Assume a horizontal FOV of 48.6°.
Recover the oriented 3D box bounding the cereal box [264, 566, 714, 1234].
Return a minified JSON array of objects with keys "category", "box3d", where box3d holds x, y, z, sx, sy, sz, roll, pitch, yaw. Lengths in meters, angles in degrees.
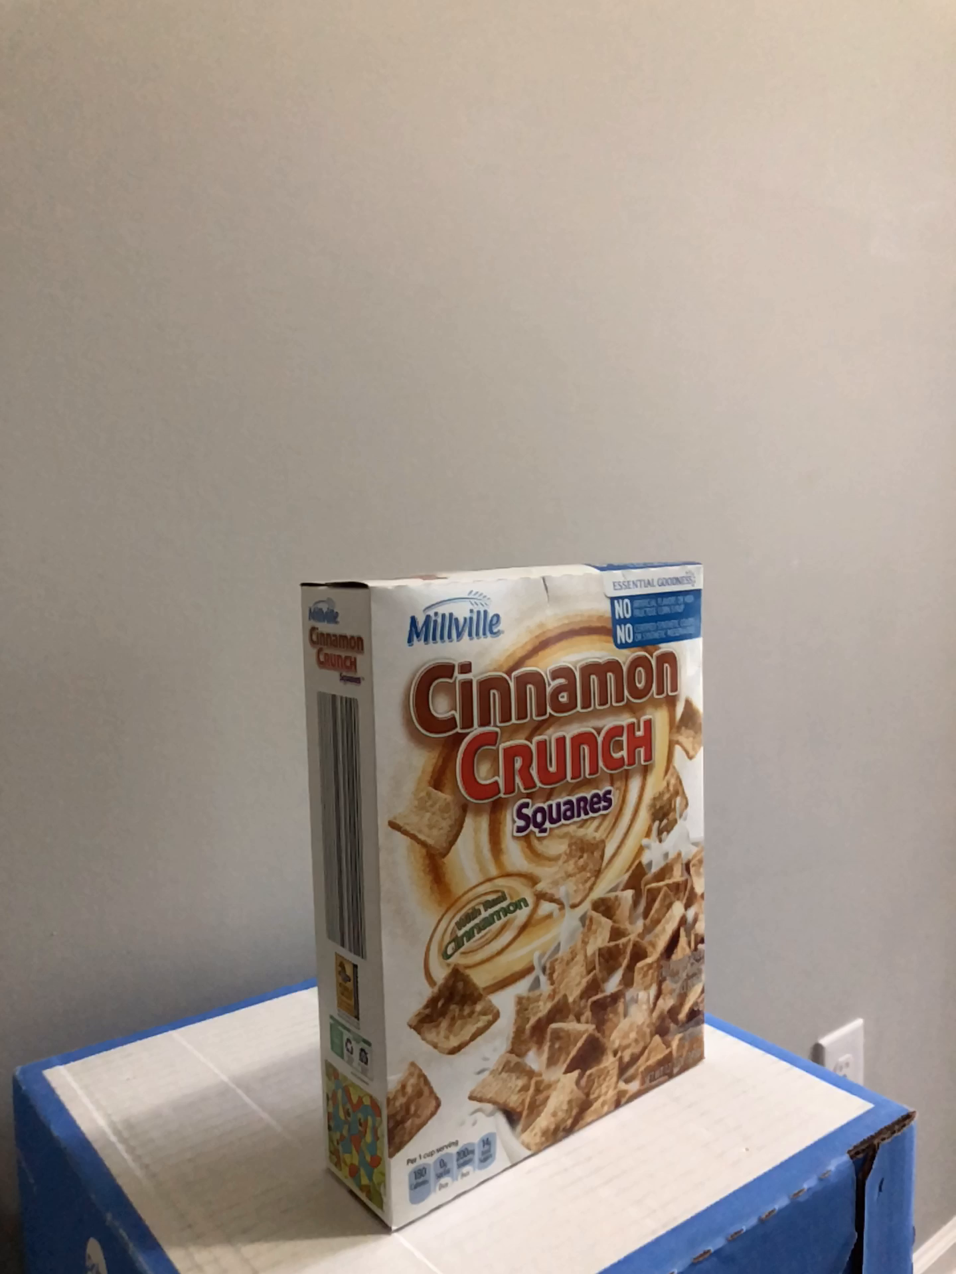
[{"category":"cereal box","box3d":[0.016,0.097,0.494,0.210,0.250,0.070,-6,8,-39]}]
